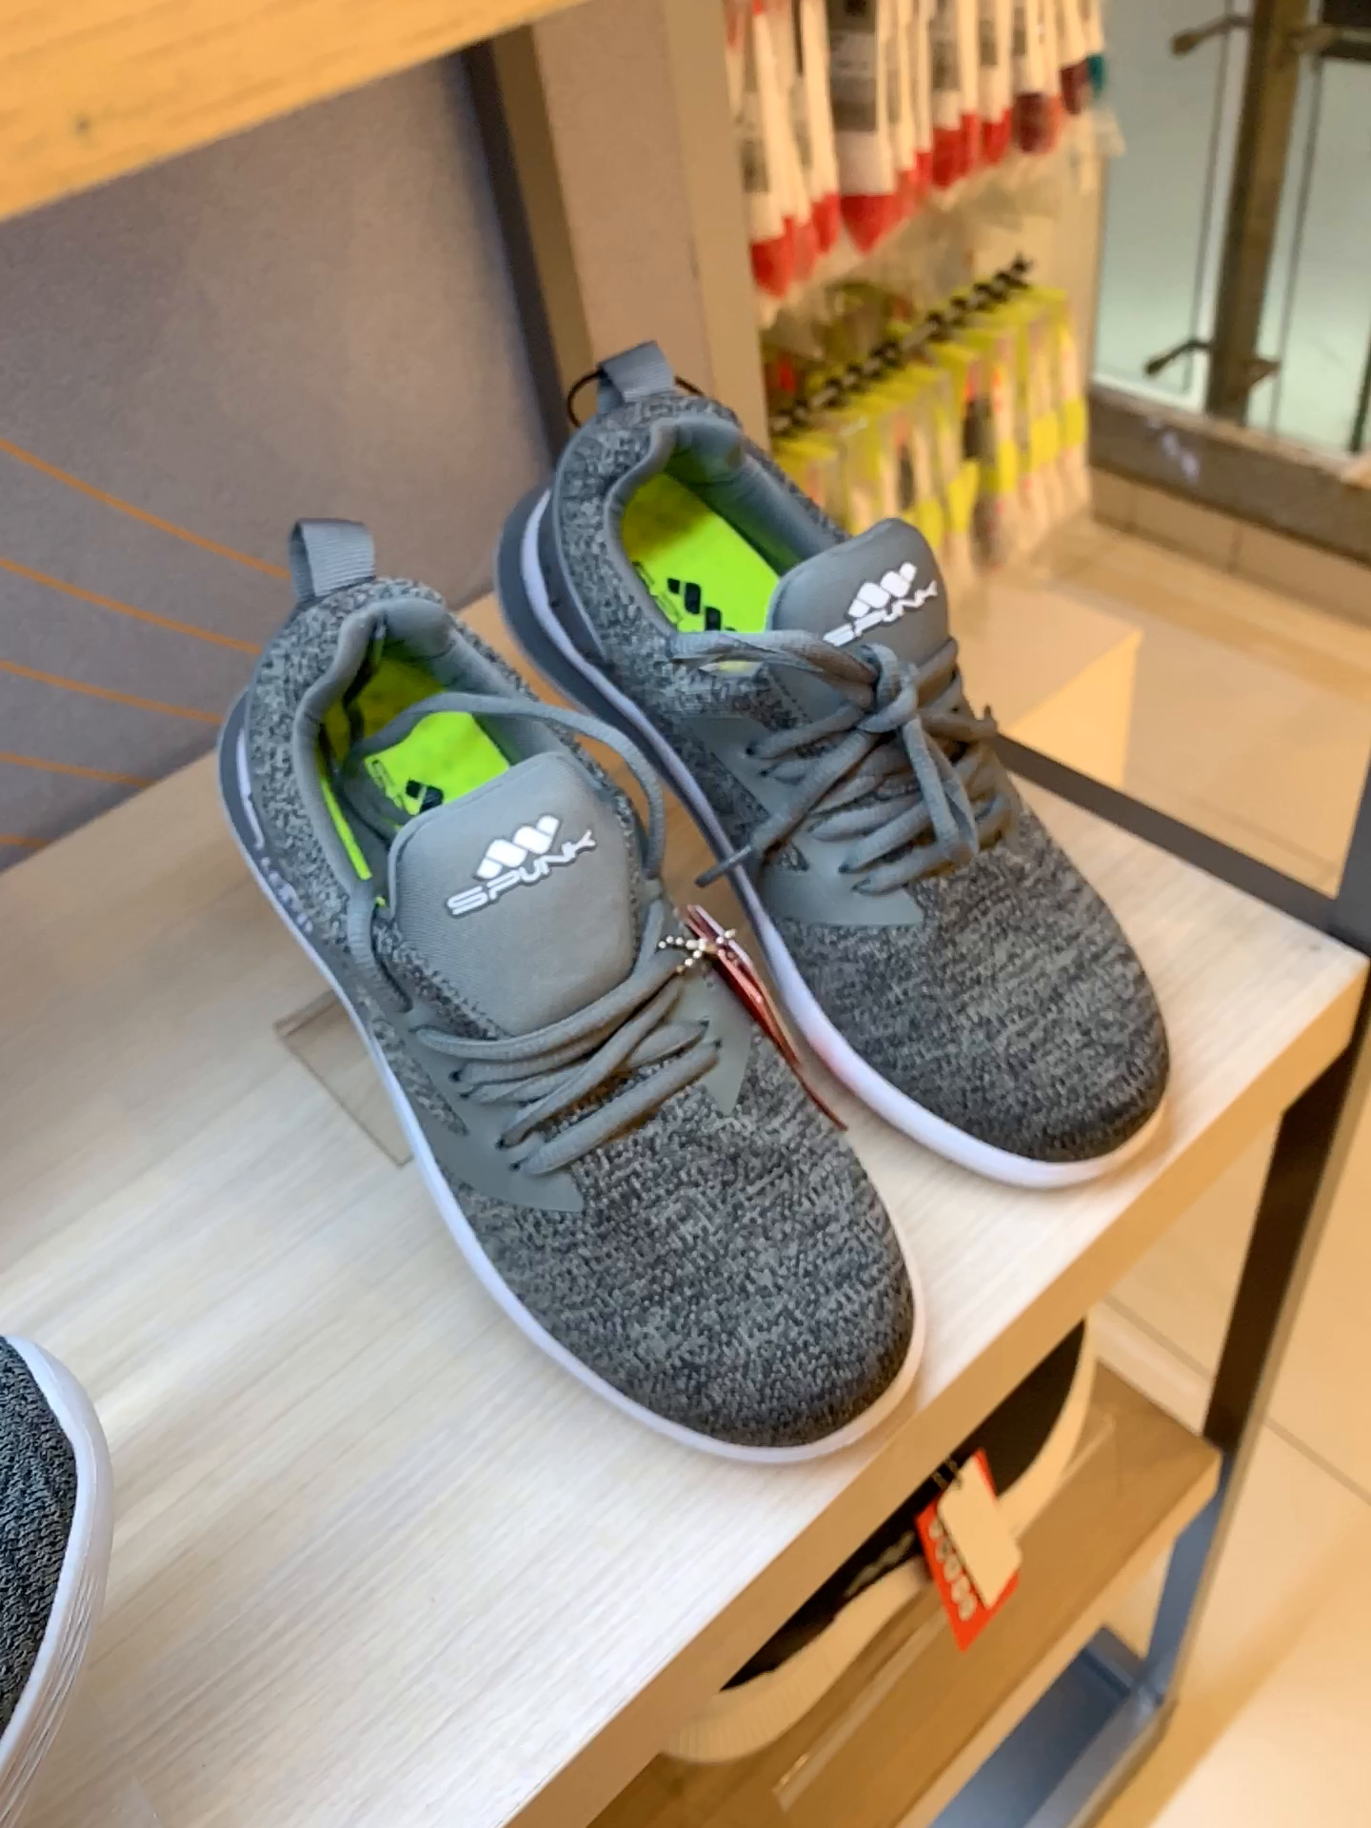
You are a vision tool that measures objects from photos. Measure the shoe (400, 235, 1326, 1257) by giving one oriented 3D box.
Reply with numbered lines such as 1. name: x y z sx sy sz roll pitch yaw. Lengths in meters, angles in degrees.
1. shoe: 0.037 -0.040 0.371 0.090 0.080 0.240 -35 86 -24

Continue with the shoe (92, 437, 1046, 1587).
1. shoe: -0.034 0.019 0.336 0.080 0.080 0.241 -32 81 -19
